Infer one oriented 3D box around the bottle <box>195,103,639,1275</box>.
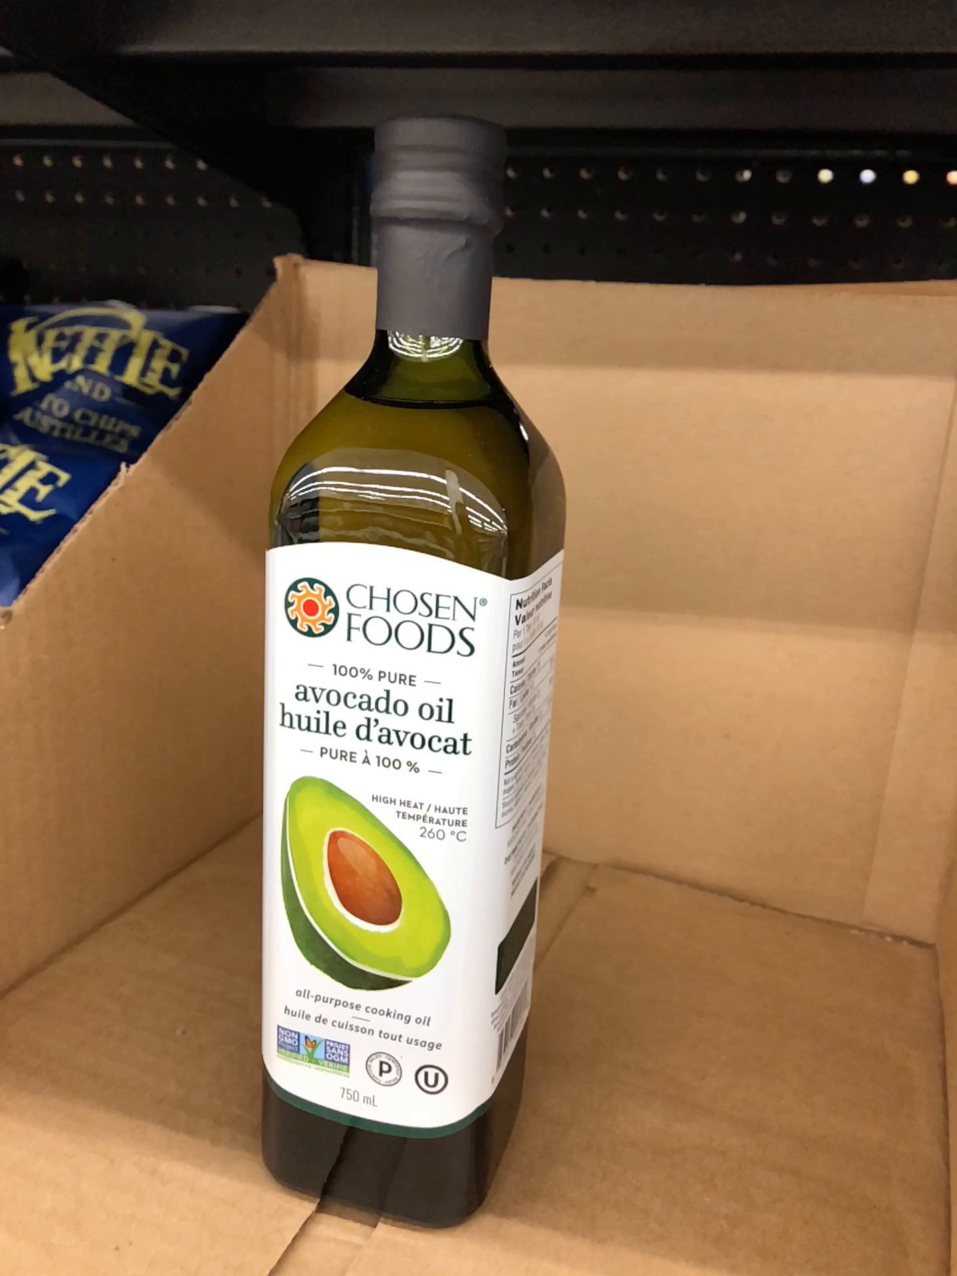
[{"bbox_3d":[-0.017,0.022,0.306,0.090,0.308,0.070,7,18,15],"label":"bottle"}]
